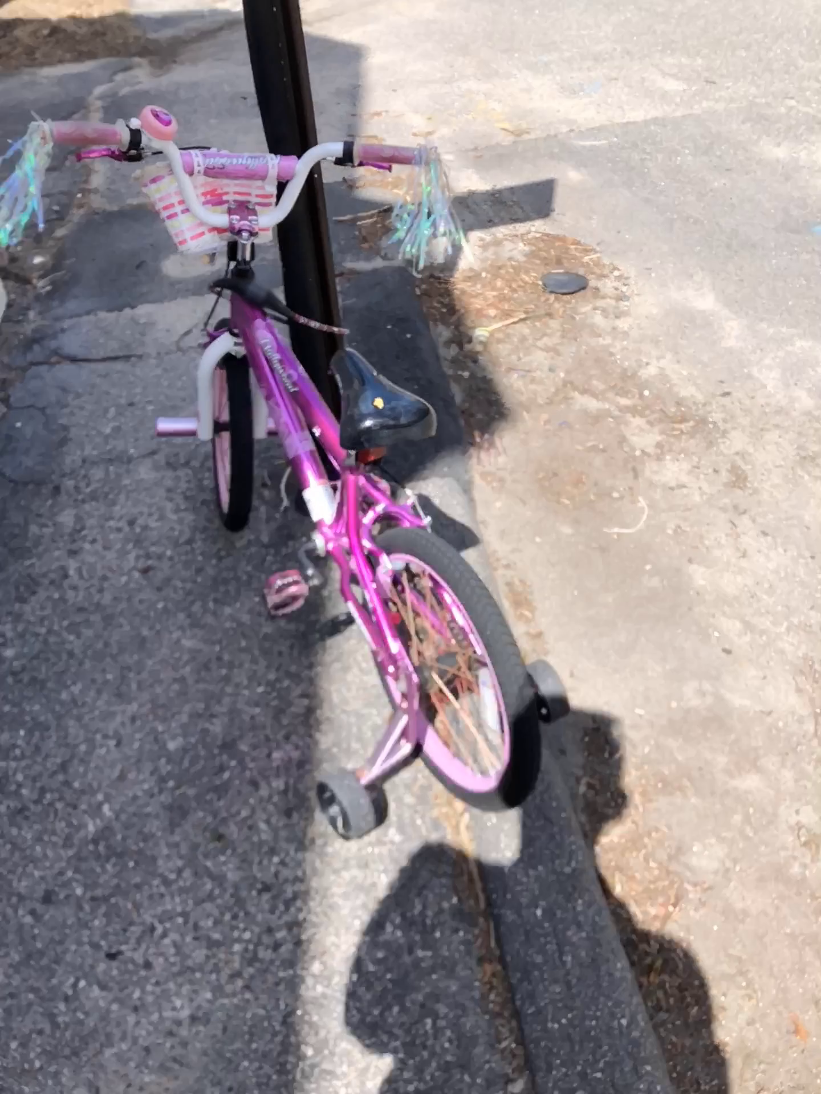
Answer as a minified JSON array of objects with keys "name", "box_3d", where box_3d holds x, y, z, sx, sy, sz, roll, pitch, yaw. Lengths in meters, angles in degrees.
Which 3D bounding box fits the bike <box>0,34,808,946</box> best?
[{"name":"bike","box_3d":[-0.136,-0.222,1.501,0.615,0.869,1.231,-22,43,-19]}]
